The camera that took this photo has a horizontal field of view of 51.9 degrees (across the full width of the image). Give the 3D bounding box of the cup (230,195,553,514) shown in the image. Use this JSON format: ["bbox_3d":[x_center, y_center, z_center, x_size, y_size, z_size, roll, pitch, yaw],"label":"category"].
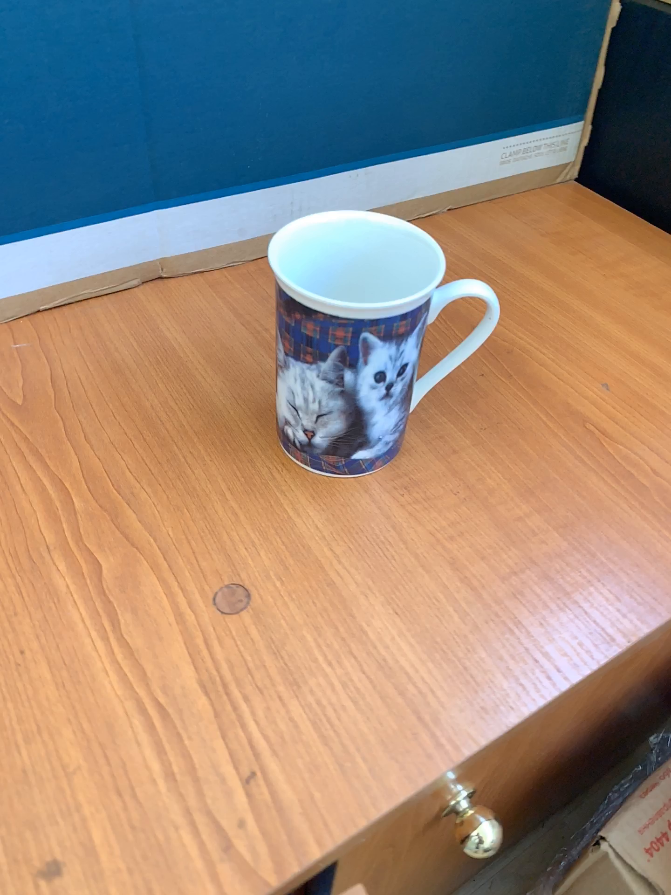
[{"bbox_3d":[0.019,-0.045,0.319,0.110,0.100,0.080,-14,48,-17],"label":"cup"}]
